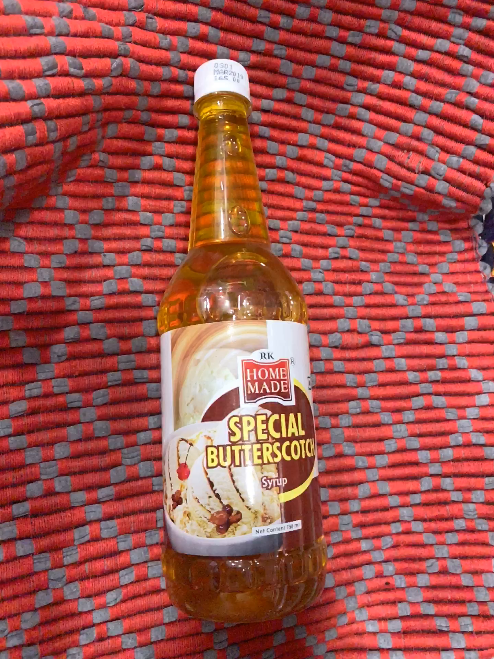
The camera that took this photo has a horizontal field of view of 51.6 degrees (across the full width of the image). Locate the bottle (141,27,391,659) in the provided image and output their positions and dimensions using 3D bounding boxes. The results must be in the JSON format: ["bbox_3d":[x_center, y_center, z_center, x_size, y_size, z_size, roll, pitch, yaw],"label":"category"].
[{"bbox_3d":[-0.003,-0.005,0.242,0.080,0.060,0.260,-1,75,-17],"label":"bottle"}]
